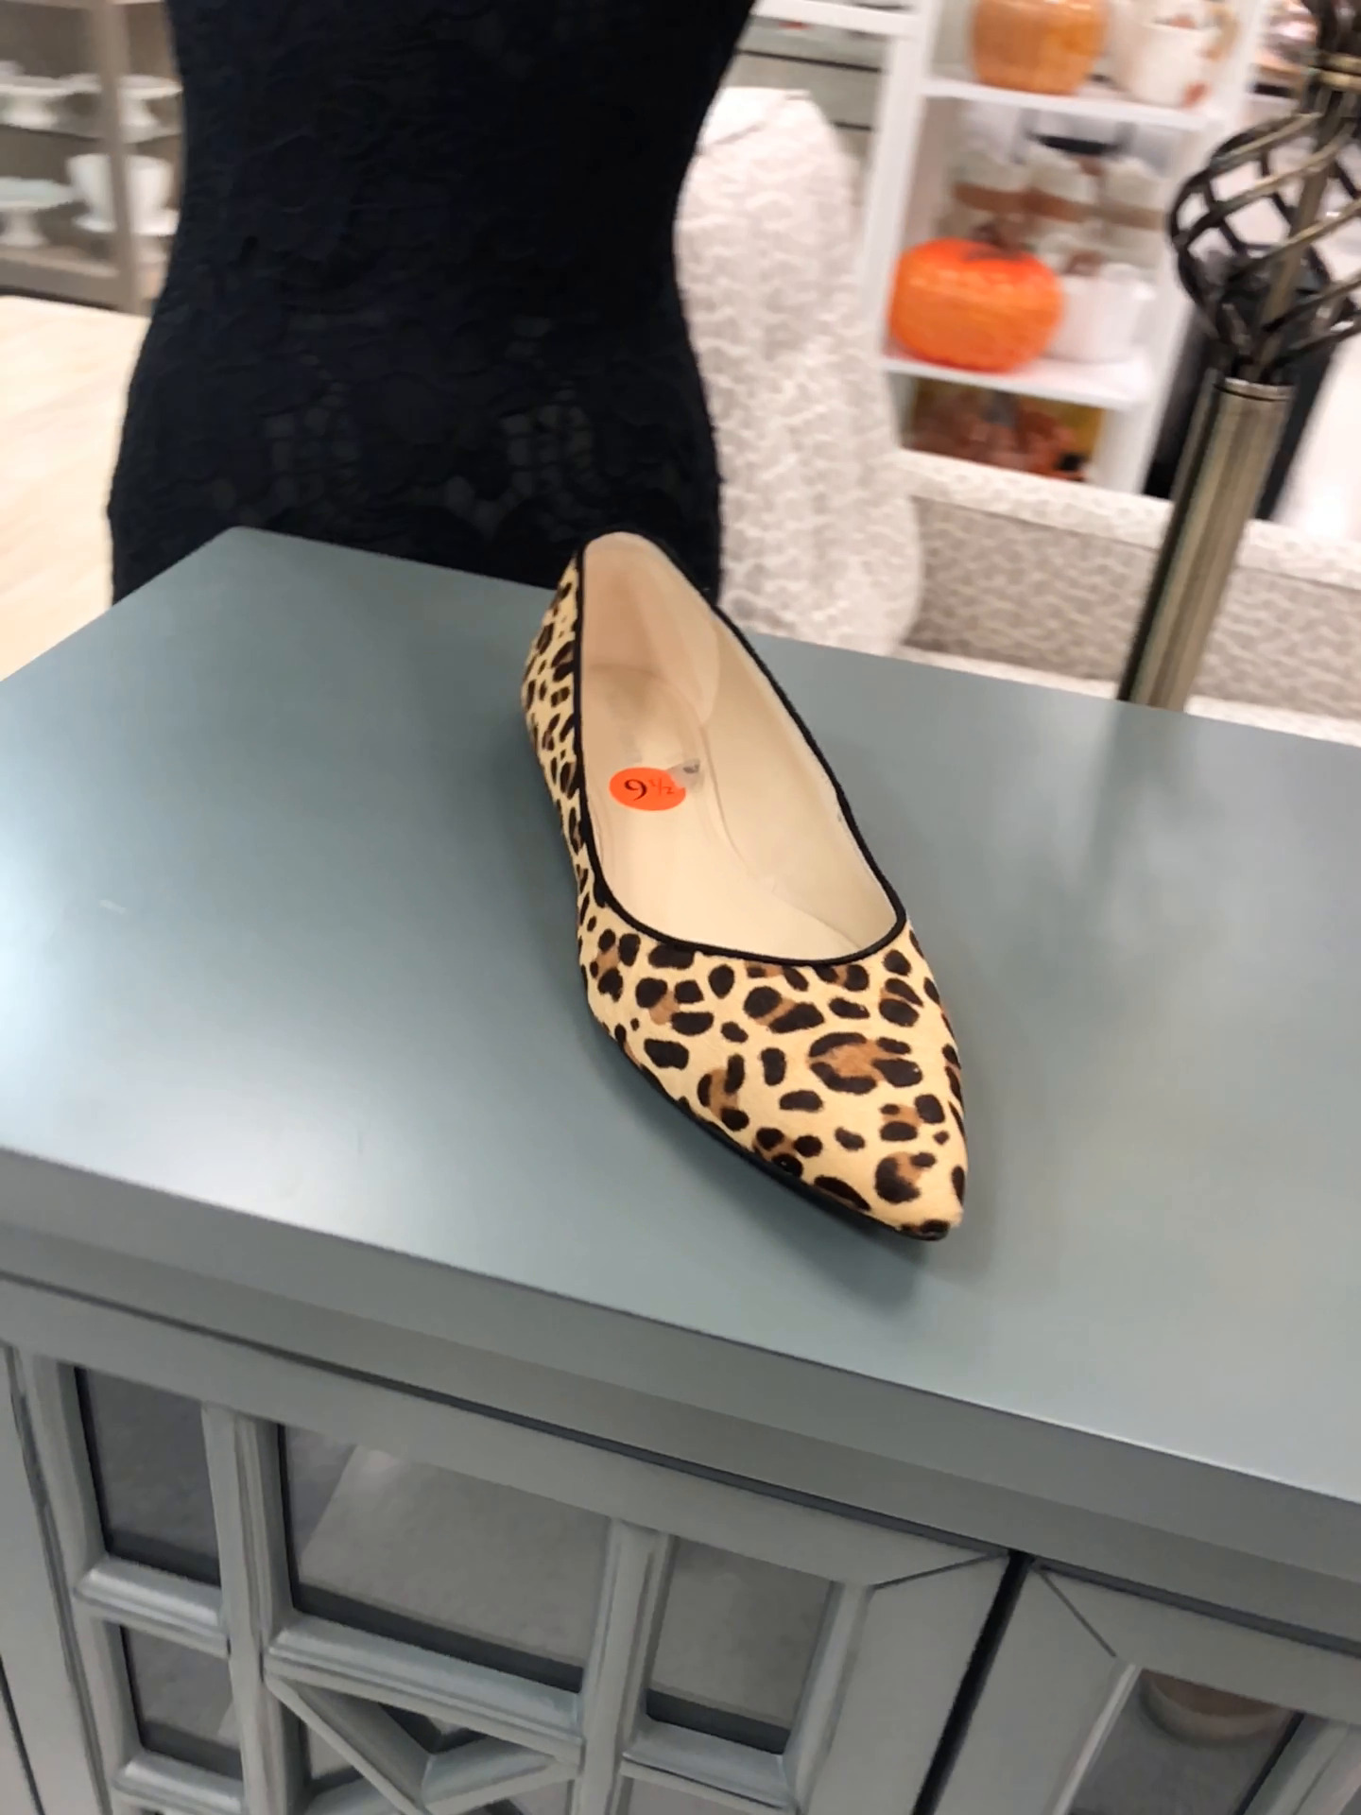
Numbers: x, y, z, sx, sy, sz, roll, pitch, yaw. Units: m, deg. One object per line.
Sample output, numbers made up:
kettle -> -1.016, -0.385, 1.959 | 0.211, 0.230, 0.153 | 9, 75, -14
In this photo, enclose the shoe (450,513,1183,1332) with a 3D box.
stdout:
shoe -> 0.010, -0.025, 0.424 | 0.097, 0.073, 0.287 | -5, 36, -18
